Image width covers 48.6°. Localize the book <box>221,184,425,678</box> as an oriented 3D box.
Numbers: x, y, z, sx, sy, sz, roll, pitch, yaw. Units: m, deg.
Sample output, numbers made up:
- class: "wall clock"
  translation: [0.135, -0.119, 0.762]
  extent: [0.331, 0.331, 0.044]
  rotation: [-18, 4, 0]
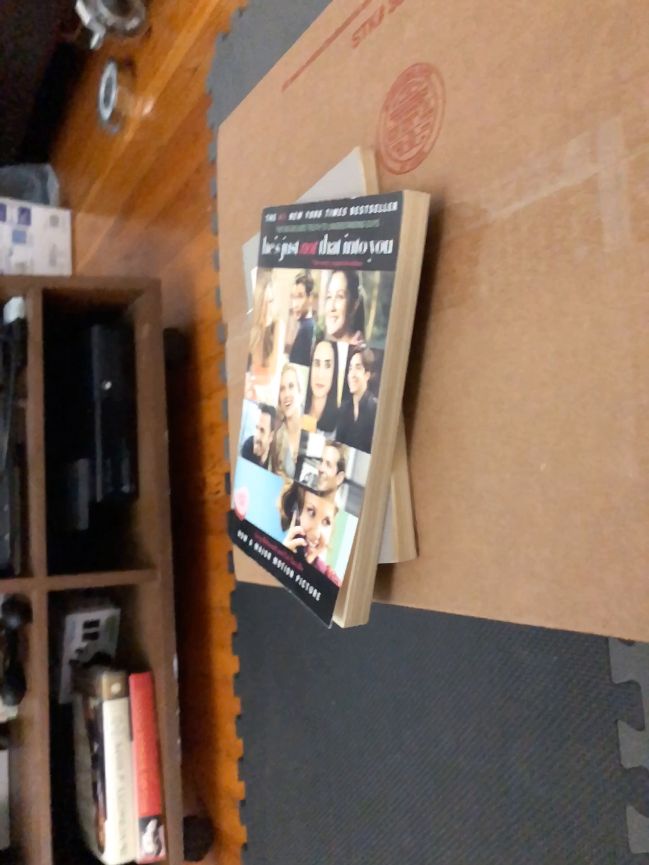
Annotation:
- class: "book"
  translation: [-0.012, -0.008, 0.394]
  extent: [0.151, 0.010, 0.230]
  rotation: [19, 106, 56]
